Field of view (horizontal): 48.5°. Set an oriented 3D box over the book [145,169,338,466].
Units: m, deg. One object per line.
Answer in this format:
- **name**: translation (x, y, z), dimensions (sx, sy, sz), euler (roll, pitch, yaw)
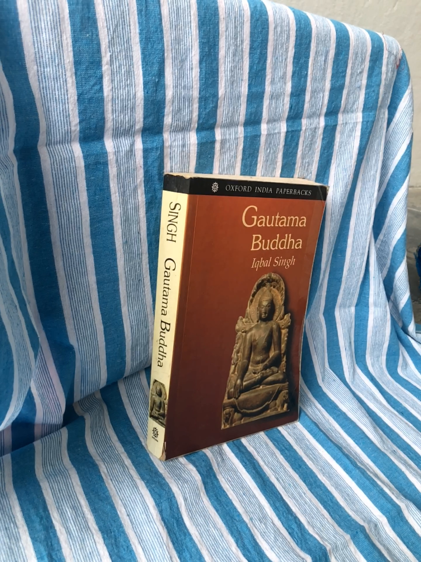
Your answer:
- **book**: translation (0.024, 0.023, 0.370), dimensions (0.141, 0.209, 0.040), euler (-5, 16, -32)
